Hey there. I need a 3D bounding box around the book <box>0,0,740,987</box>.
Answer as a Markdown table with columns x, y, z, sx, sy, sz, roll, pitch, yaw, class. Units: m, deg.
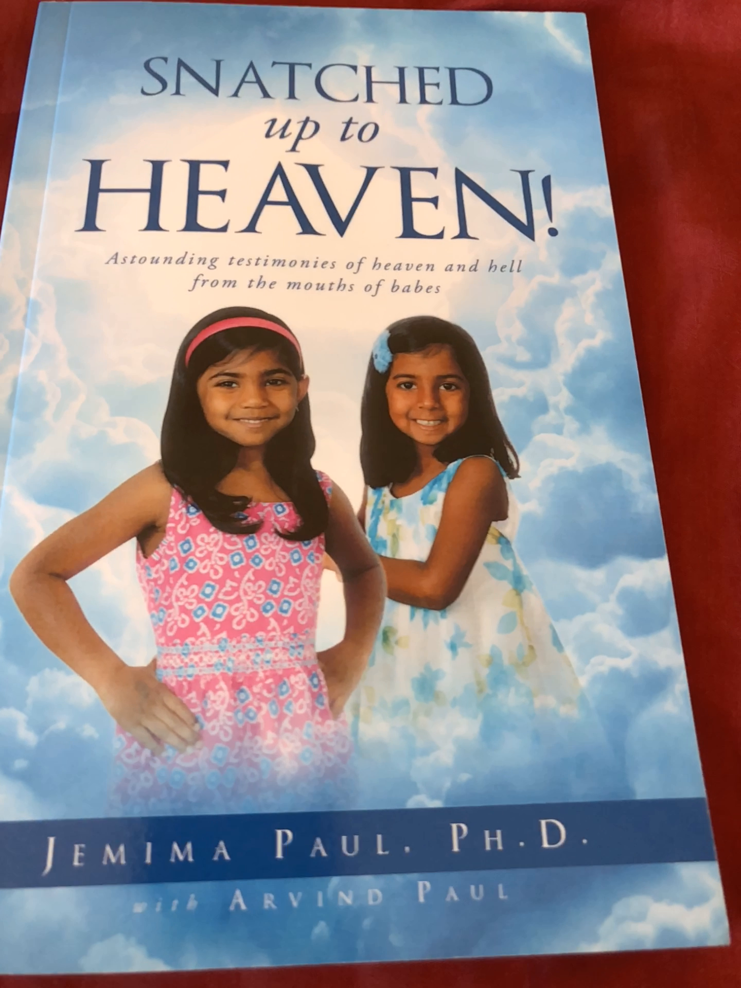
| x | y | z | sx | sy | sz | roll | pitch | yaw | class |
| --- | --- | --- | --- | --- | --- | --- | --- | --- | --- |
| -0.004 | -0.018 | 0.178 | 0.140 | 0.020 | 0.212 | 0 | 70 | -3 | book |
